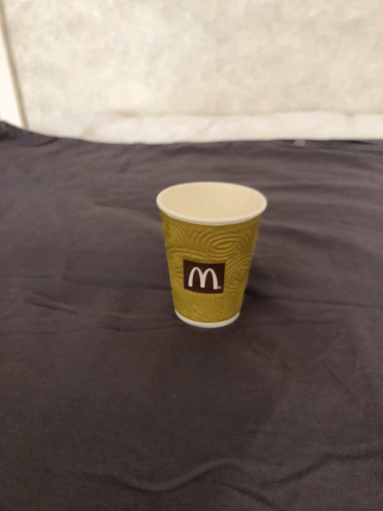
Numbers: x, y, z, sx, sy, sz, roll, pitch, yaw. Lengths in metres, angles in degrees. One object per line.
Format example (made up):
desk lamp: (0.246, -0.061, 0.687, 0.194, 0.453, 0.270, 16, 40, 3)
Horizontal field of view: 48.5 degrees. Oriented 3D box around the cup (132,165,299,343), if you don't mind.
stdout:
cup: (0.024, -0.009, 0.355, 0.107, 0.101, 0.099, 0, 26, 0)
